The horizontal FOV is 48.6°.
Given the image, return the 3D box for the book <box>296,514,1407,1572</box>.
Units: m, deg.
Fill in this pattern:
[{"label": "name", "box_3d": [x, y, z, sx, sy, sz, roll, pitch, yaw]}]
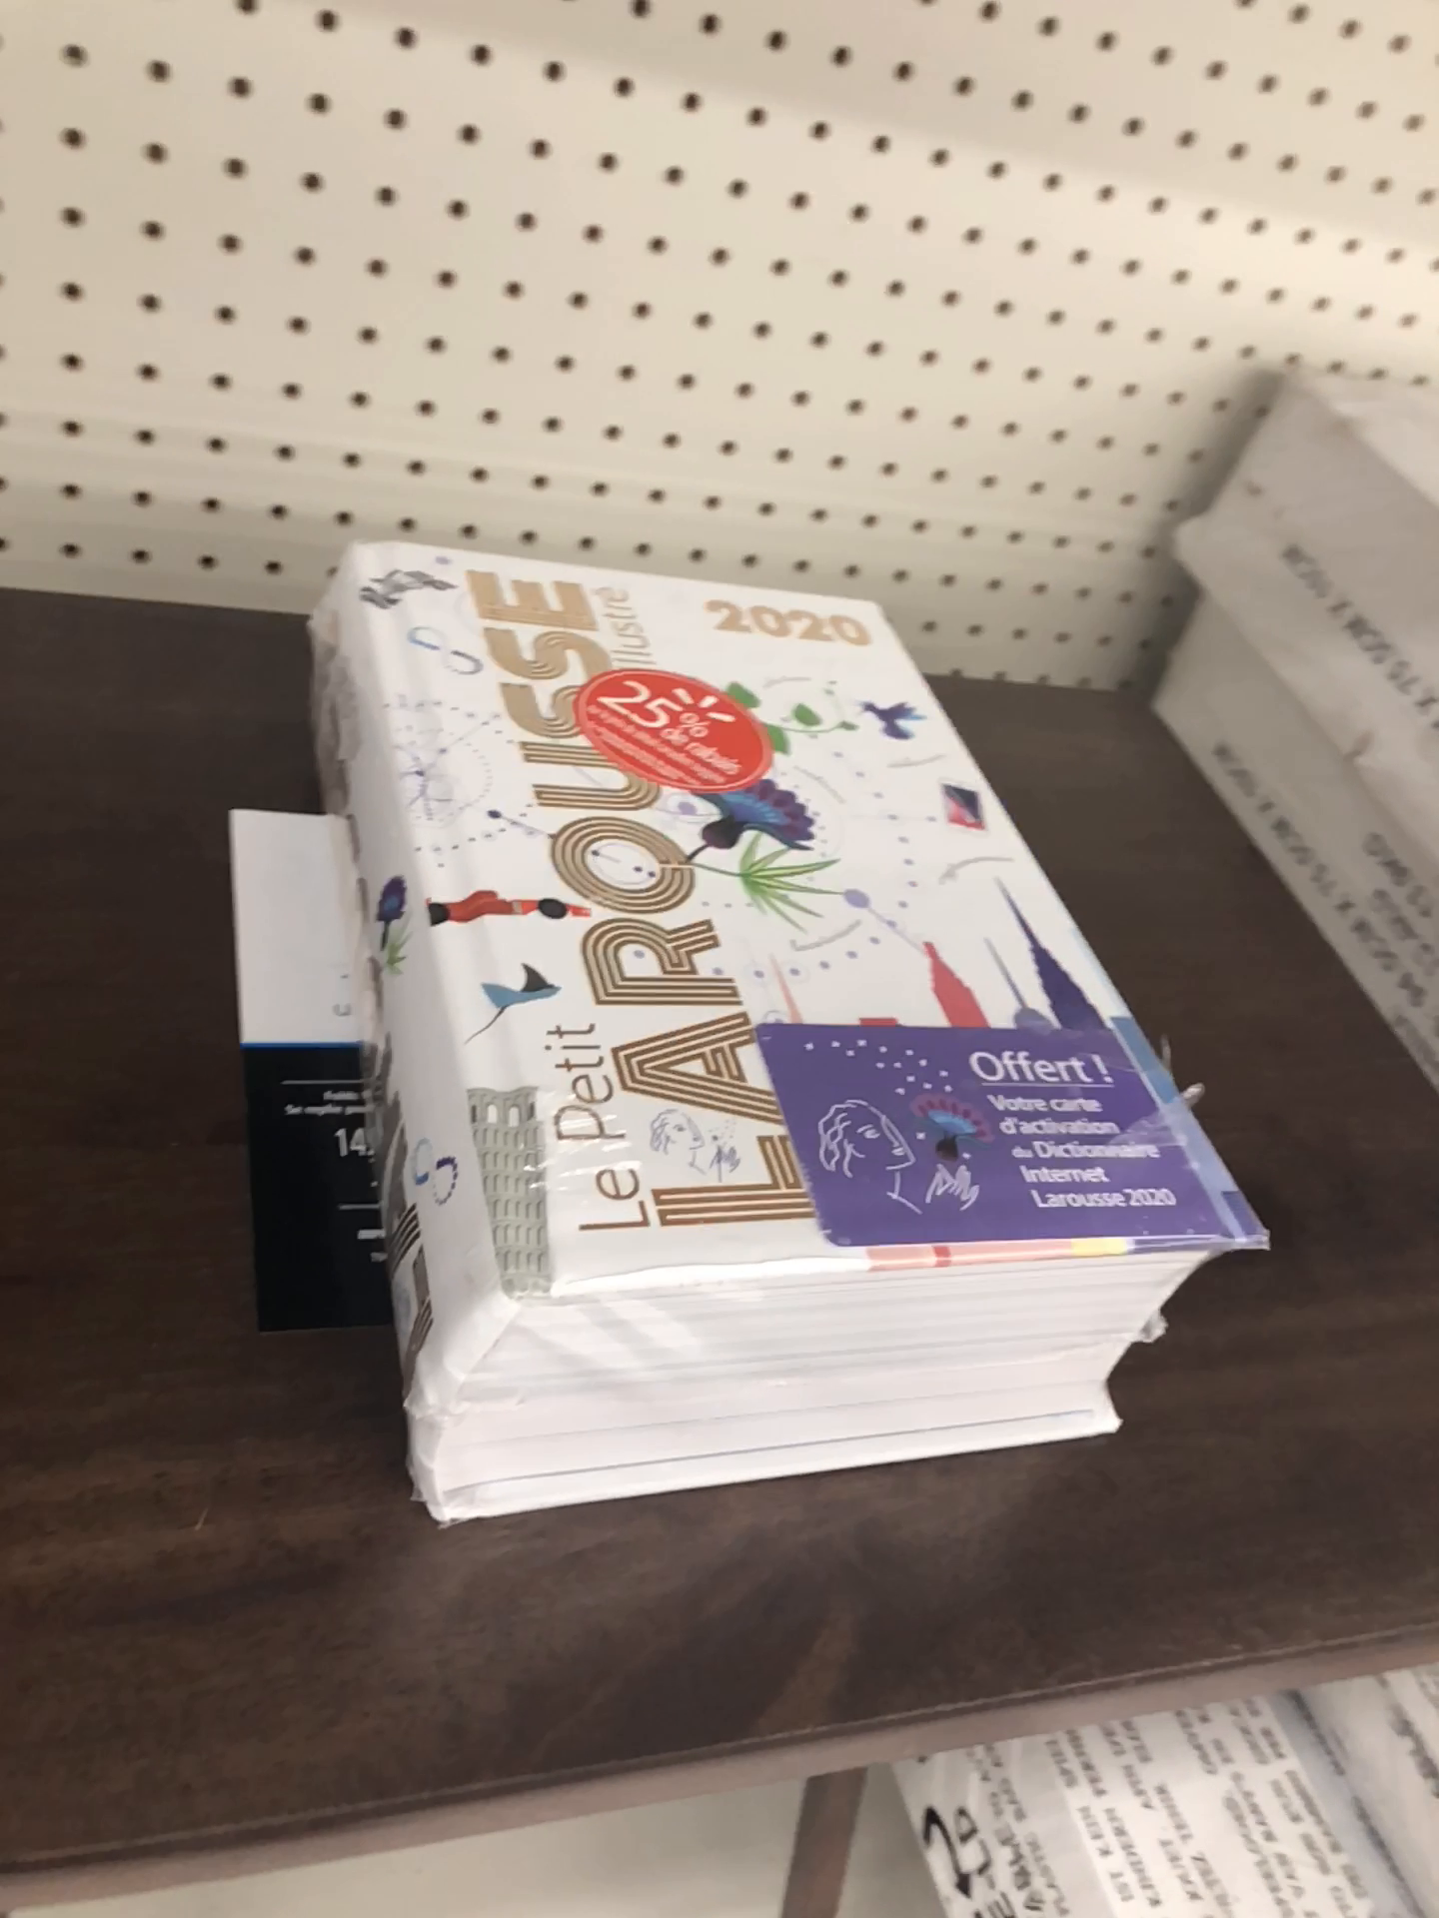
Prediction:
[{"label": "book", "box_3d": [0.006, -0.001, 0.357, 0.170, 0.069, 0.232, 1, 43, -22]}]
